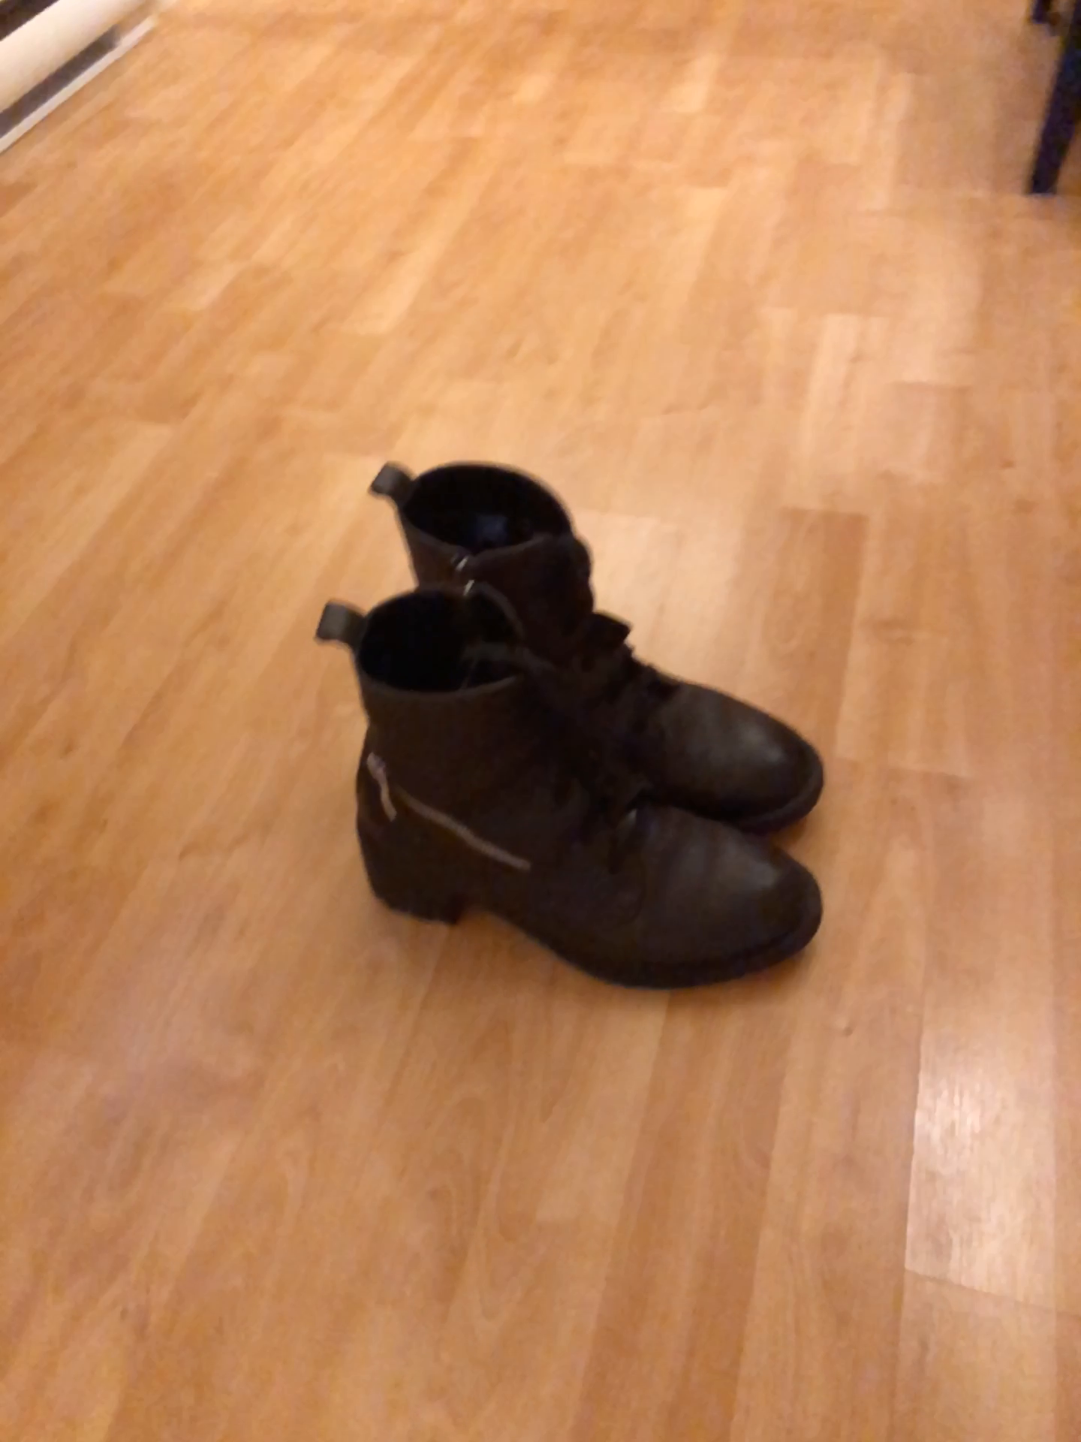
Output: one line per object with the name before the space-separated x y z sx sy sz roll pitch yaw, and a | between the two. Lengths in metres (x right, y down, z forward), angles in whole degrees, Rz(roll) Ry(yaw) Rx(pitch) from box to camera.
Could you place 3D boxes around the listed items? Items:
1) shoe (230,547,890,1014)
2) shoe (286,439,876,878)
shoe | 0.018 0.030 0.579 0.270 0.179 0.110 6 50 11
shoe | 0.027 -0.033 0.646 0.270 0.179 0.110 8 50 13
